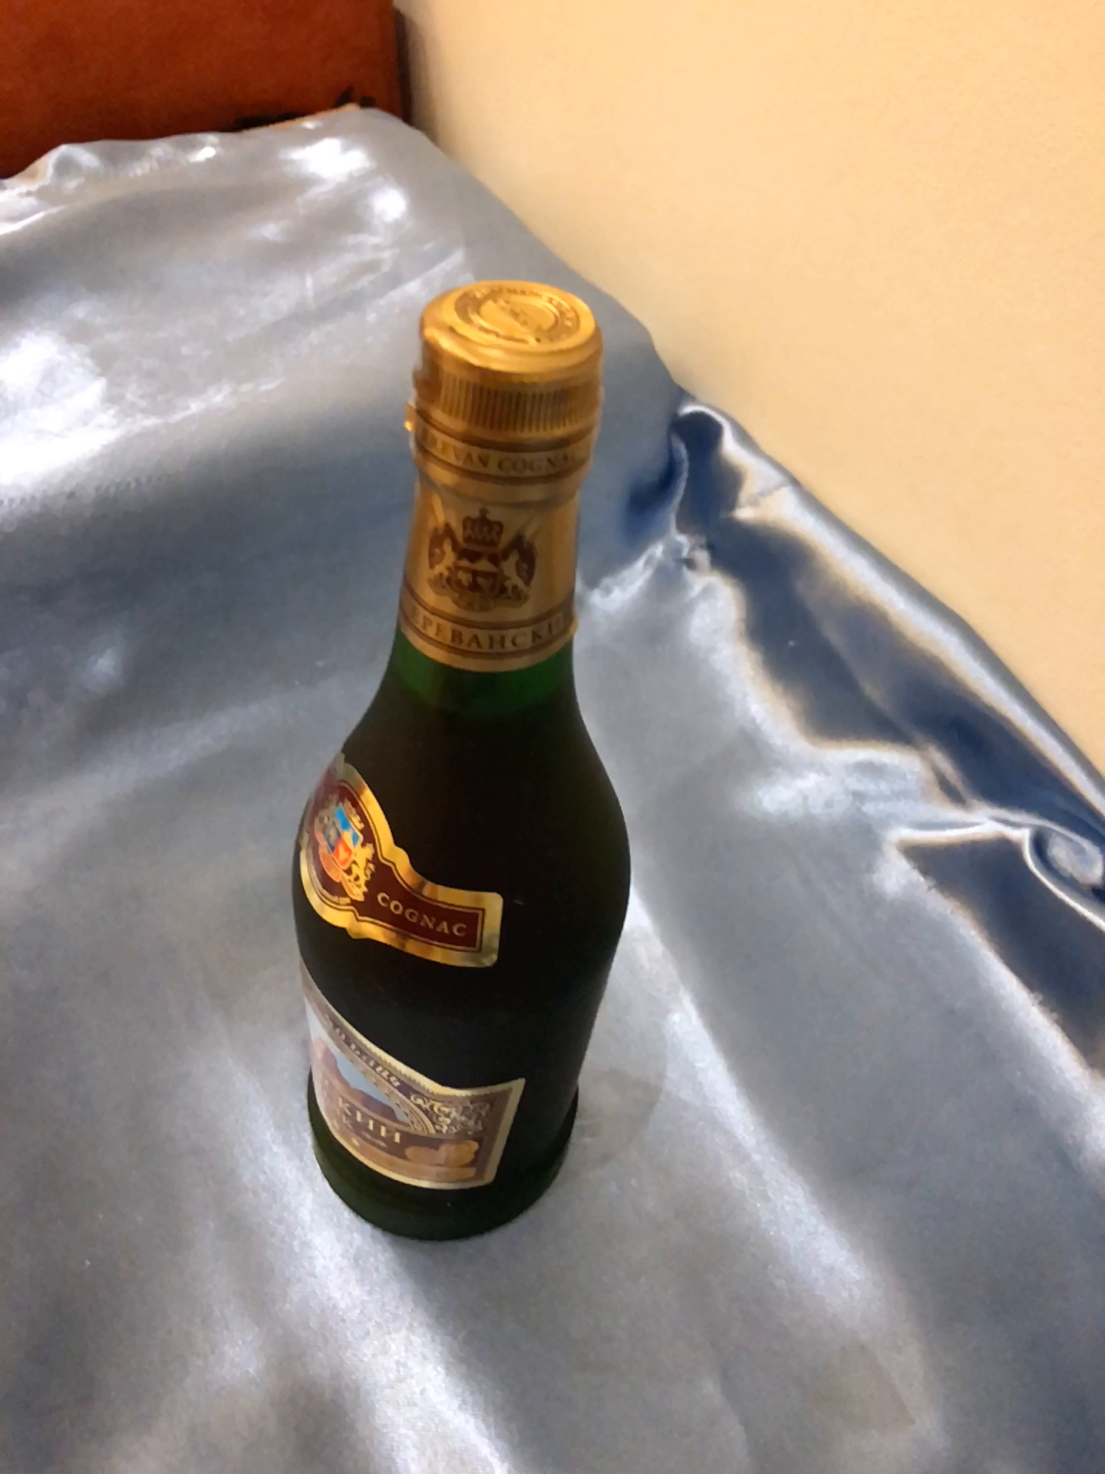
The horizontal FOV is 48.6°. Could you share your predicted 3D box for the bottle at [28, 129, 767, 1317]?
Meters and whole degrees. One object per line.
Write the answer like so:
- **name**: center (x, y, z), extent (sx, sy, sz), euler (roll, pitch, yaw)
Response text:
- **bottle**: center (-0.027, 0.021, 0.258), extent (0.074, 0.247, 0.080), euler (1, 46, -1)
